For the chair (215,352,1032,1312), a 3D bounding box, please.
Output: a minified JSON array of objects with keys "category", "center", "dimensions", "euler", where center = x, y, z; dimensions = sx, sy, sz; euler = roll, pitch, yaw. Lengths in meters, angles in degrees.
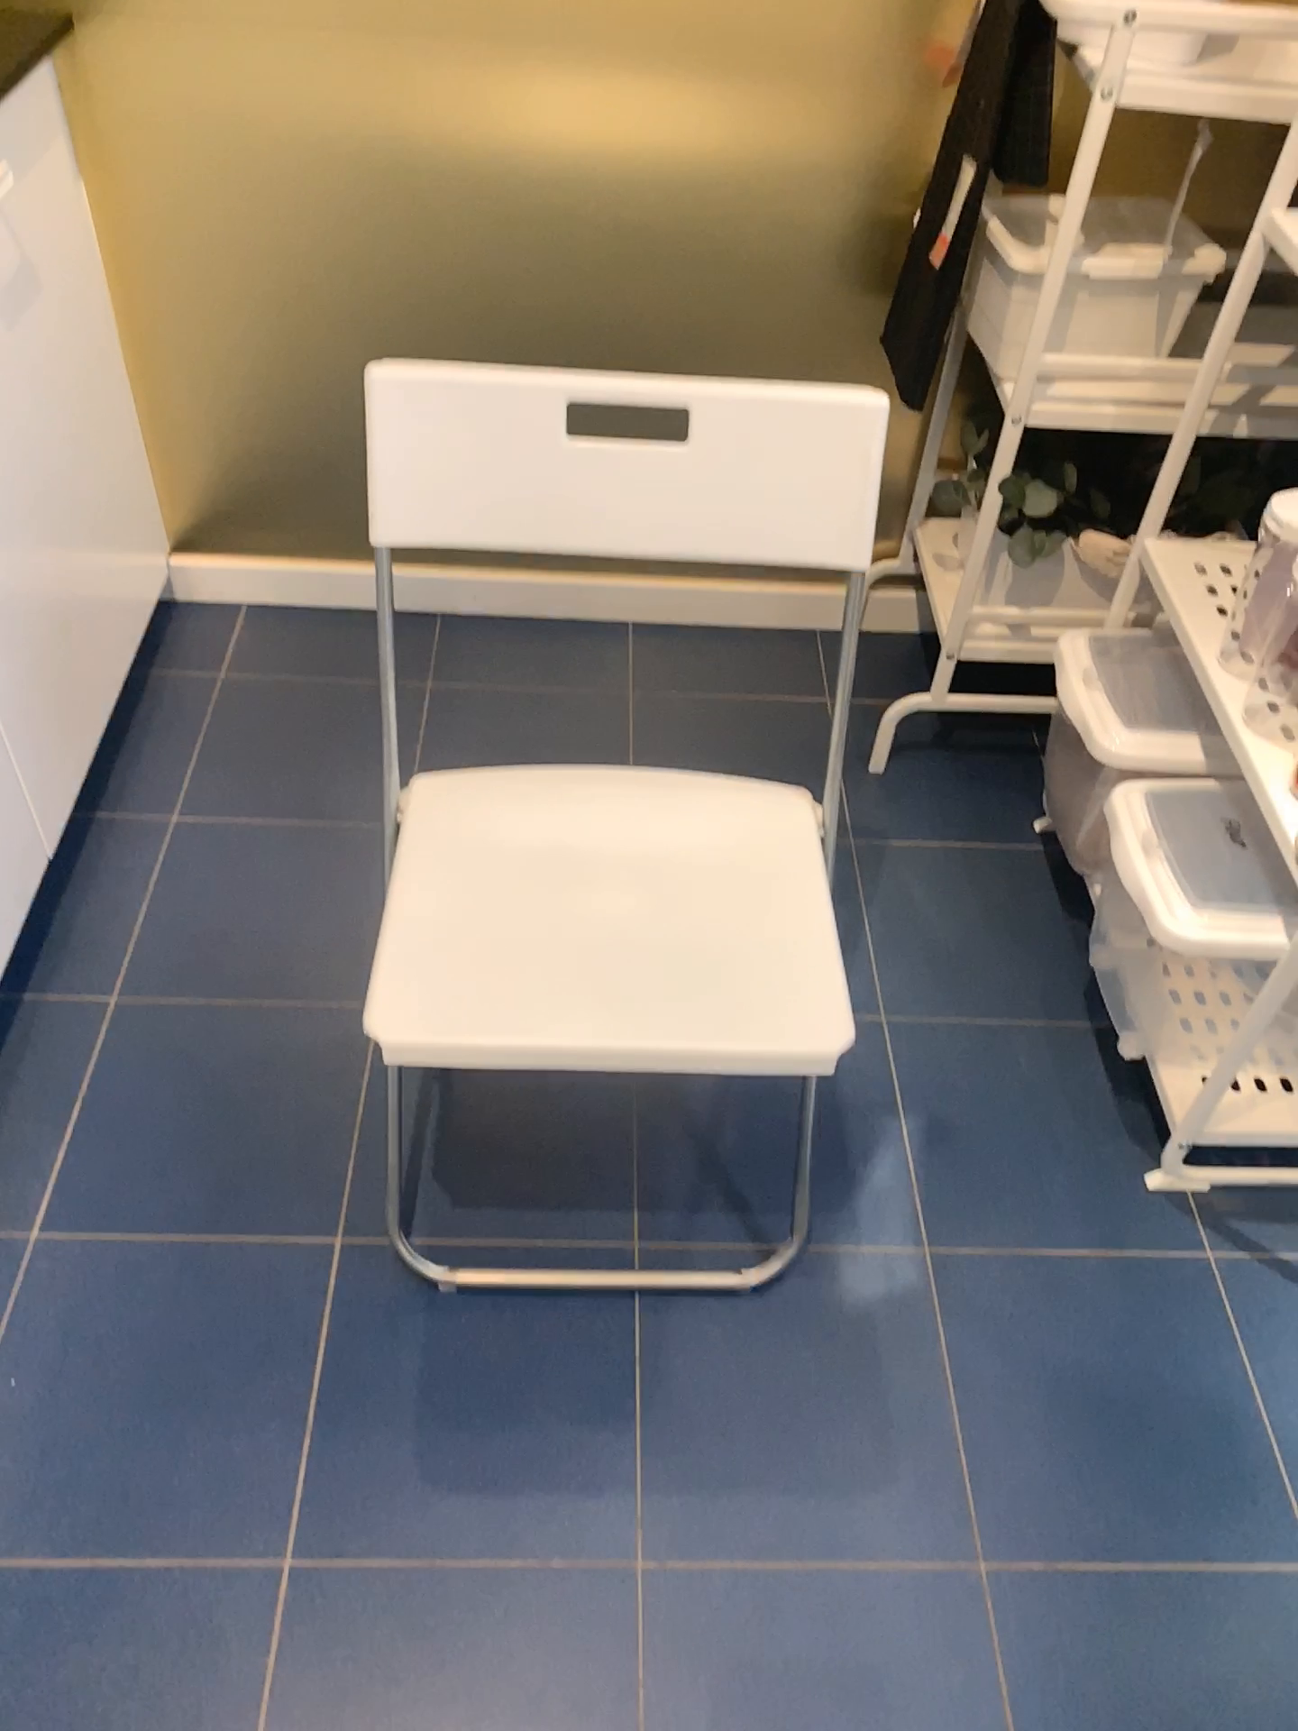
[{"category":"chair","center":[-0.033,0.009,1.154],"dimensions":[0.460,0.708,0.451],"euler":[2,46,-3]}]
